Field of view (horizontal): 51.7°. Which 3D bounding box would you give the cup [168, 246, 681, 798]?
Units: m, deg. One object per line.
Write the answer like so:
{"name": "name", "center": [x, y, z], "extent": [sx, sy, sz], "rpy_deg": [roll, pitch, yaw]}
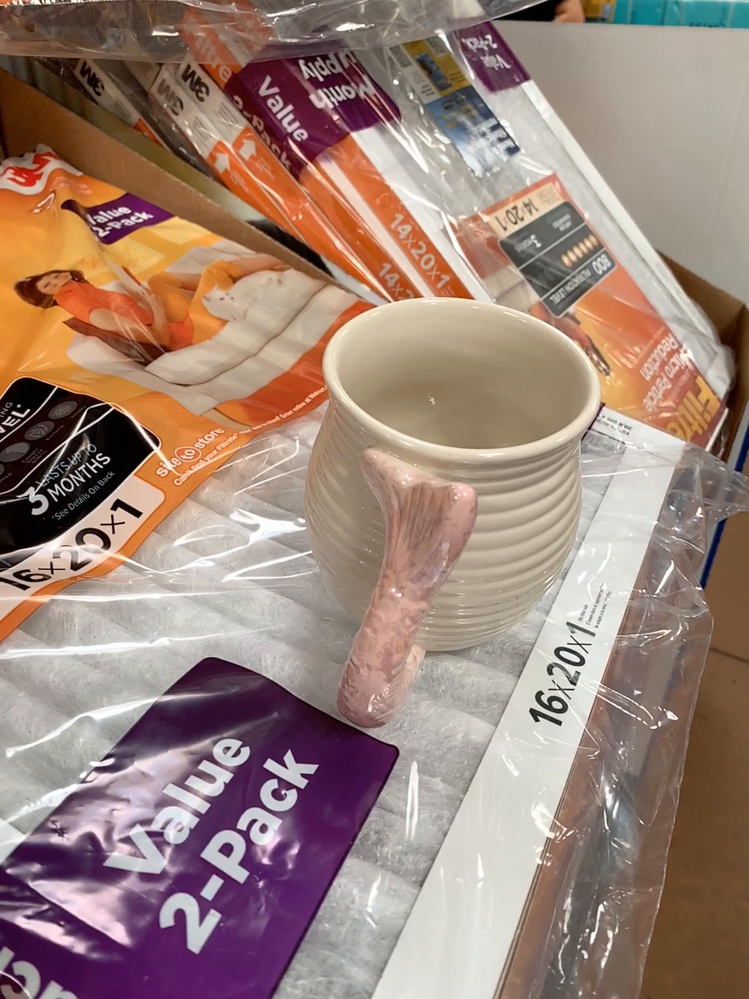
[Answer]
{"name": "cup", "center": [0.021, -0.004, 0.259], "extent": [0.100, 0.089, 0.141], "rpy_deg": [25, 45, 19]}
